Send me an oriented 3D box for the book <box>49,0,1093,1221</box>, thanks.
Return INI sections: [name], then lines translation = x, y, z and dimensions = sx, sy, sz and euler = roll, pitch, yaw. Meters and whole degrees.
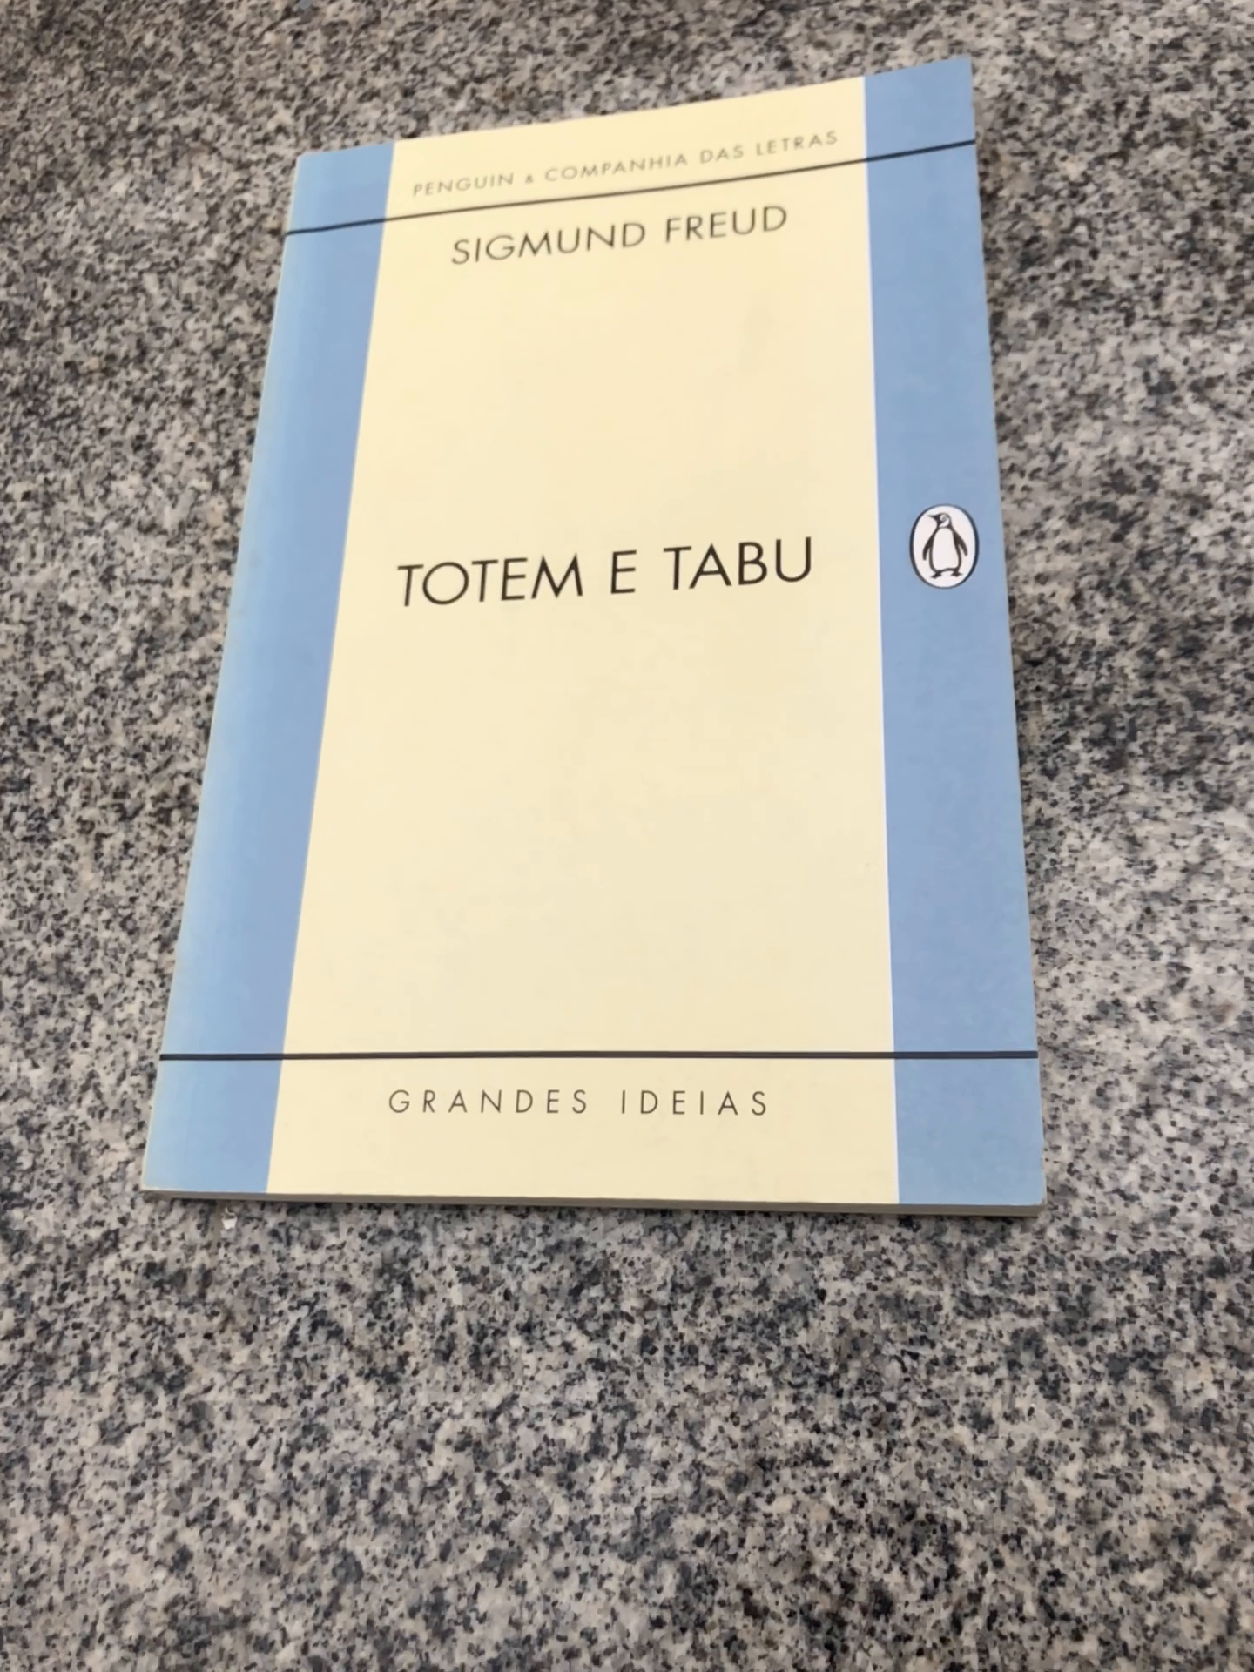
[book]
translation = -0.005, -0.044, 0.211
dimensions = 0.130, 0.015, 0.191
euler = -1, 69, 11
